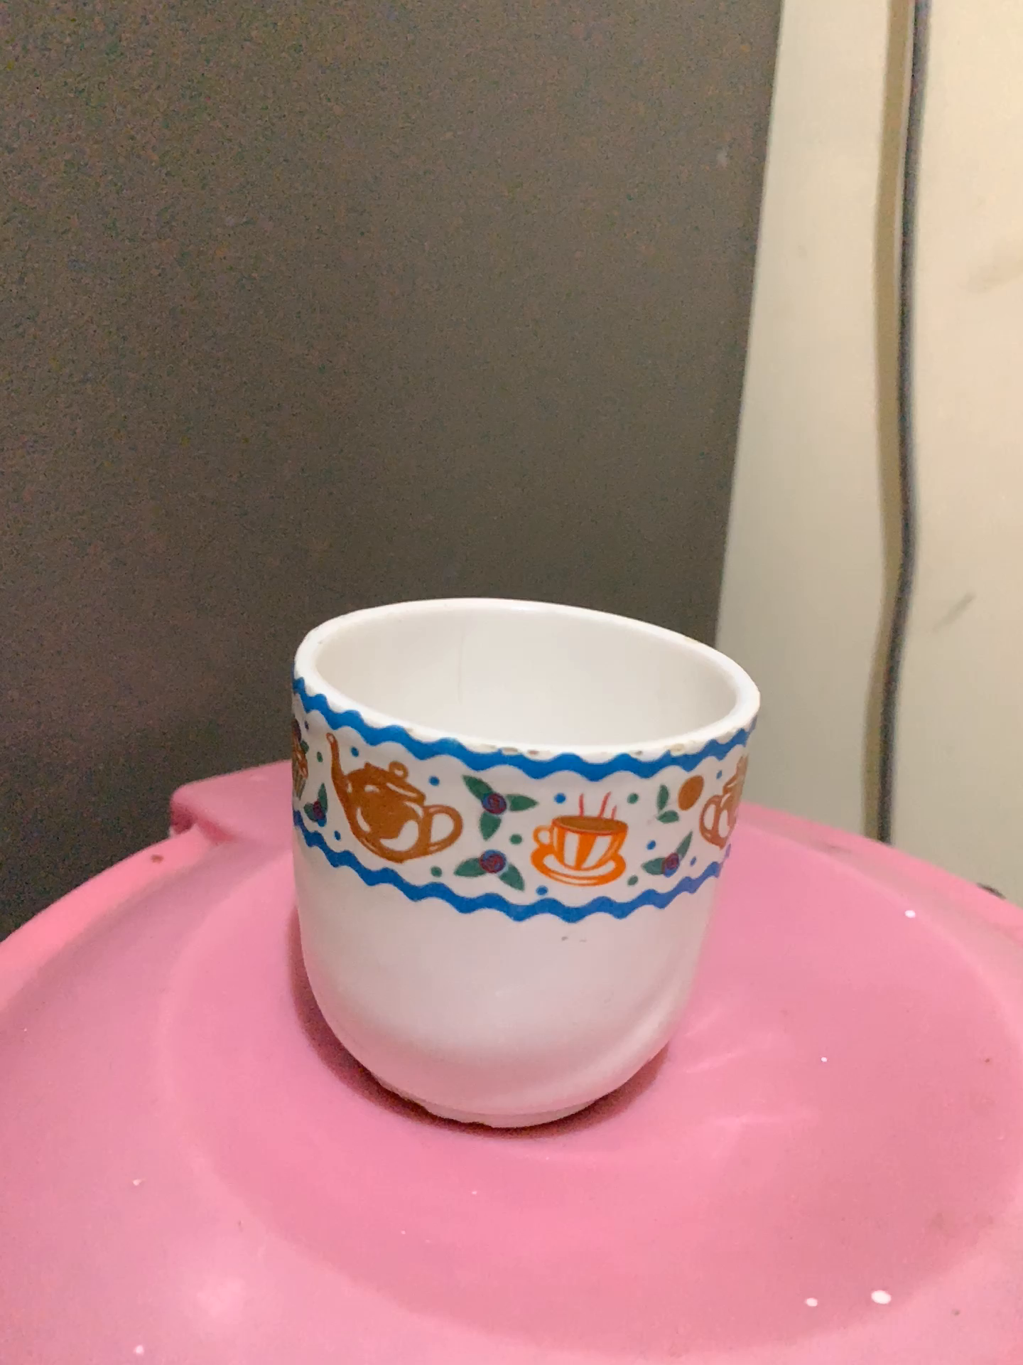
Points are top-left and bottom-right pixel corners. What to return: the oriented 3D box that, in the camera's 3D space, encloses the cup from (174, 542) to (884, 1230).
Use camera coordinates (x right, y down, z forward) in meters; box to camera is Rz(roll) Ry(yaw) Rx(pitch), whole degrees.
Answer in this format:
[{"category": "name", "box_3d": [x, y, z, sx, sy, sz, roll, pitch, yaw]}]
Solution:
[{"category": "cup", "box_3d": [0.001, 0.018, 0.167, 0.076, 0.062, 0.072, 2, 17, -1]}]
